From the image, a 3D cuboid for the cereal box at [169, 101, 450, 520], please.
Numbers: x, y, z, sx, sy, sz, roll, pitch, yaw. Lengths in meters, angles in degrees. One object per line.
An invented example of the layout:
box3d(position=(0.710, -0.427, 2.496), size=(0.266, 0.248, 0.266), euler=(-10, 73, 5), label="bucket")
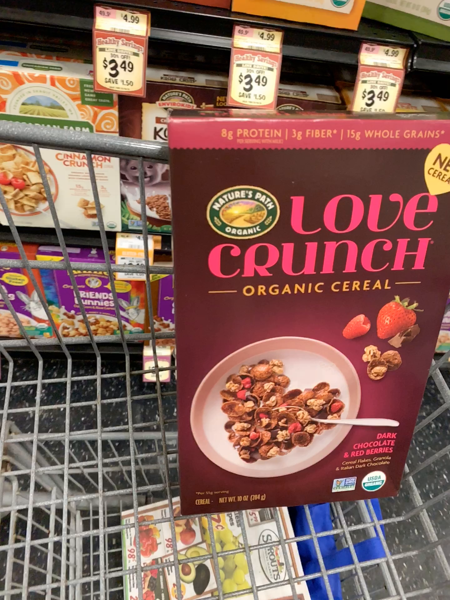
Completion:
box3d(position=(0.049, 0.018, 0.284), size=(0.160, 0.249, 0.060), euler=(-2, 28, -8), label="cereal box")
